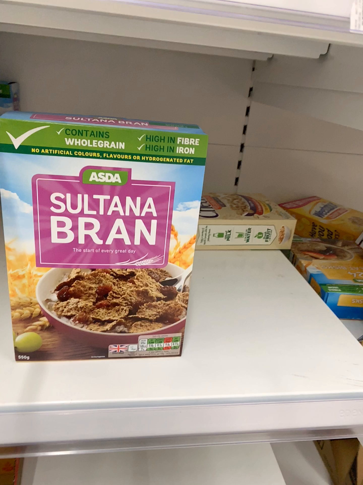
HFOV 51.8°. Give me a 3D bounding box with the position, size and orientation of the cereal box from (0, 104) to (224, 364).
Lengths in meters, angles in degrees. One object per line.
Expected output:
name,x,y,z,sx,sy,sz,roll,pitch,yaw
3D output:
cereal box,-0.082,0.001,0.415,0.210,0.268,0.071,1,24,-11
